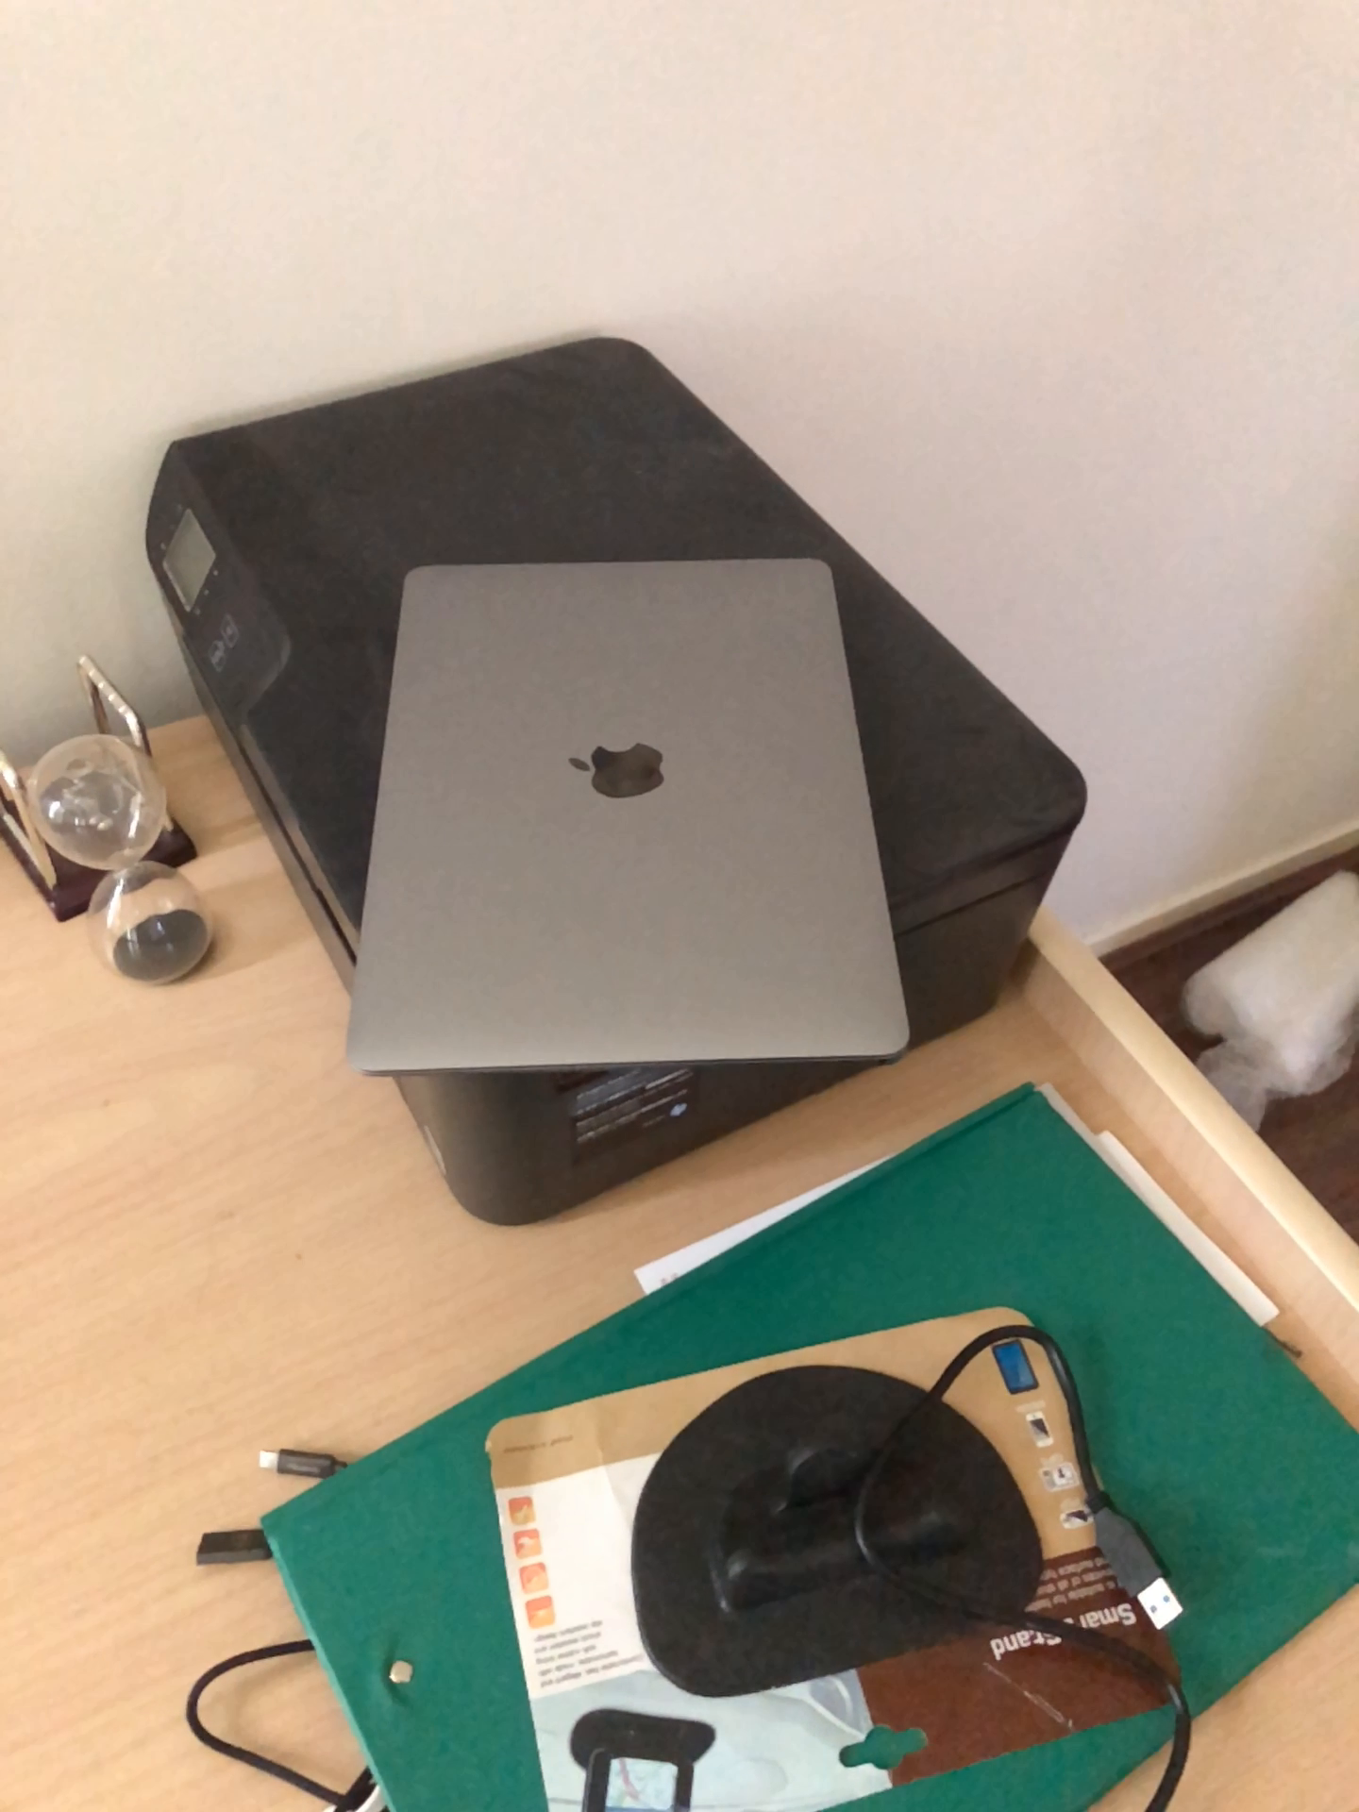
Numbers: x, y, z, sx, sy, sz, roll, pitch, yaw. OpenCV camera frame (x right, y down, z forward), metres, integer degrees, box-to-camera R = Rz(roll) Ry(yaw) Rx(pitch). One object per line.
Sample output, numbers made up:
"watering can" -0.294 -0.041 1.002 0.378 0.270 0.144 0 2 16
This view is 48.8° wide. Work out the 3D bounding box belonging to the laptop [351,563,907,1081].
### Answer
"laptop" -0.021 -0.048 0.595 0.188 0.007 0.266 -2 50 -1
